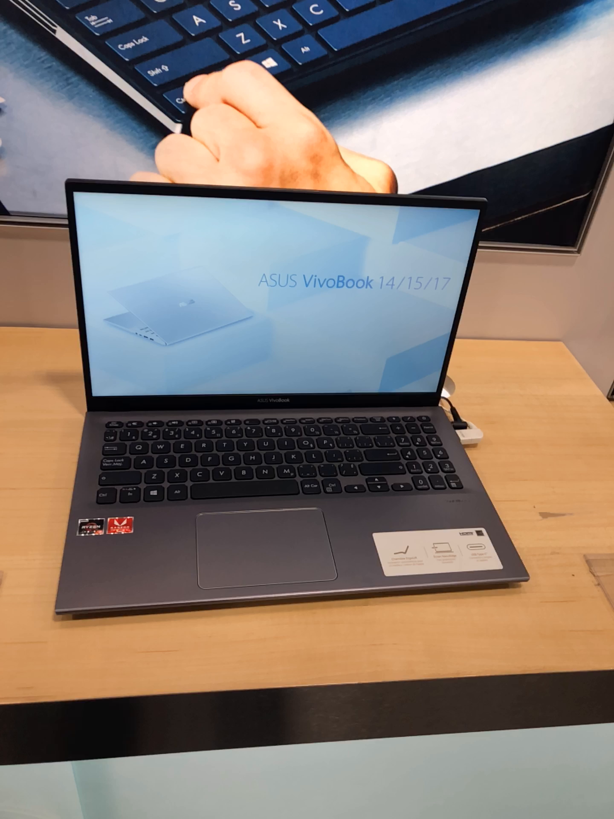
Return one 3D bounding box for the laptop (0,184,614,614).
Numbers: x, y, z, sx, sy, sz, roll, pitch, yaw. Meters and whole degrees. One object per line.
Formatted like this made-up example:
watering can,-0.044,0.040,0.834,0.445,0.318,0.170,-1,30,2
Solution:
laptop,-0.008,-0.019,0.519,0.349,0.211,0.243,0,37,-10
